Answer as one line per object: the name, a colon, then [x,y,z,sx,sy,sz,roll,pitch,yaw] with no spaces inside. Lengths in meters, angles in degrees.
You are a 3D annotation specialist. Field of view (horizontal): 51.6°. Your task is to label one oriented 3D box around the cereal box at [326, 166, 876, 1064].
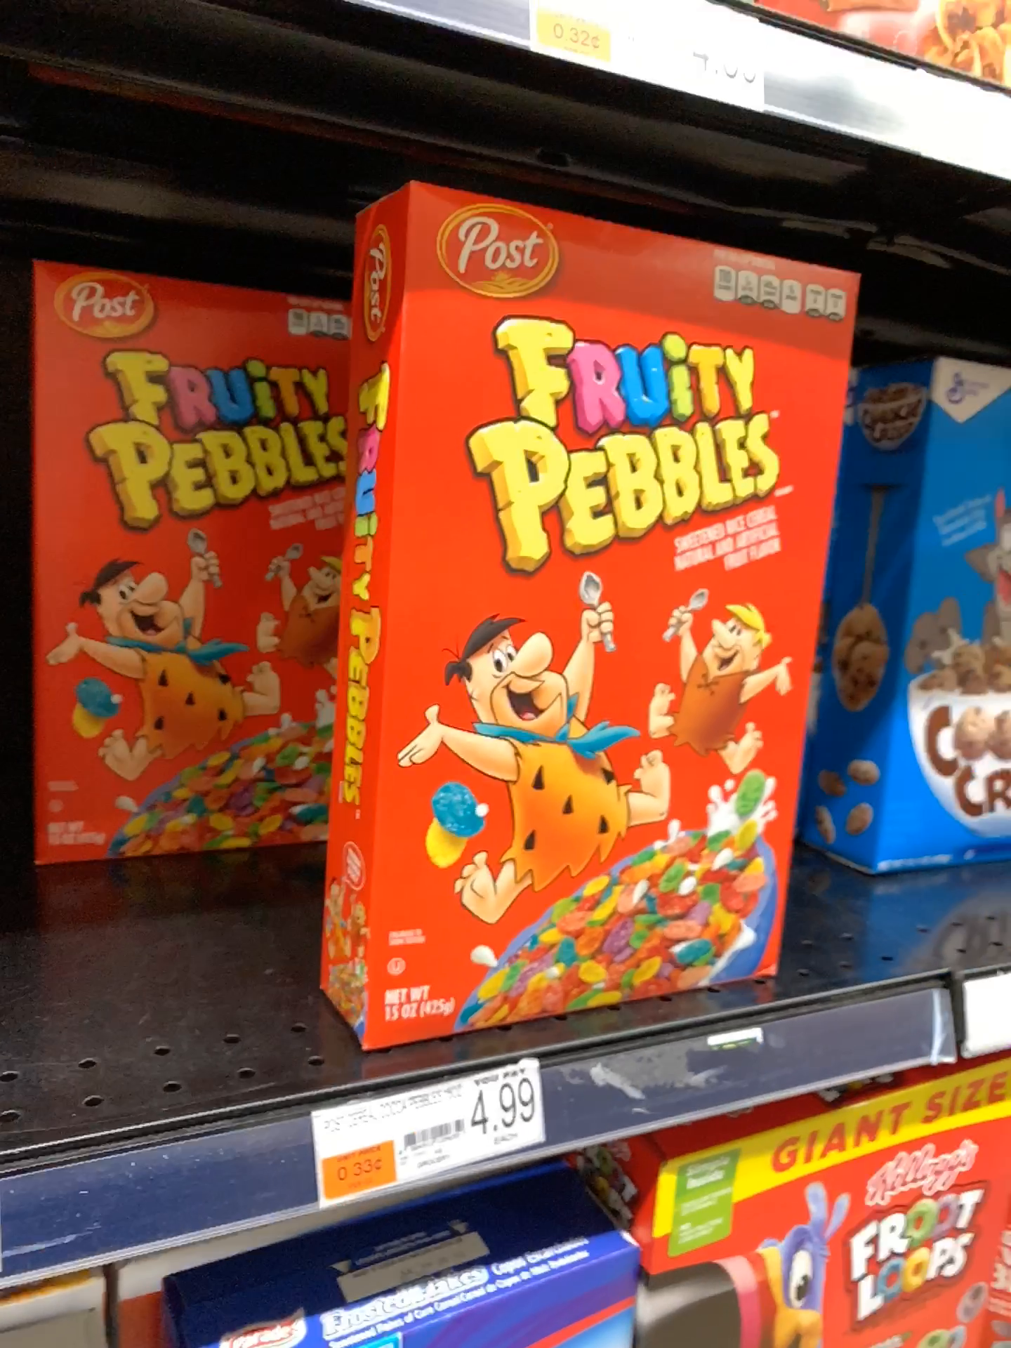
cereal box: [0.038,-0.017,0.428,0.200,0.309,0.060,-1,10,-26]
